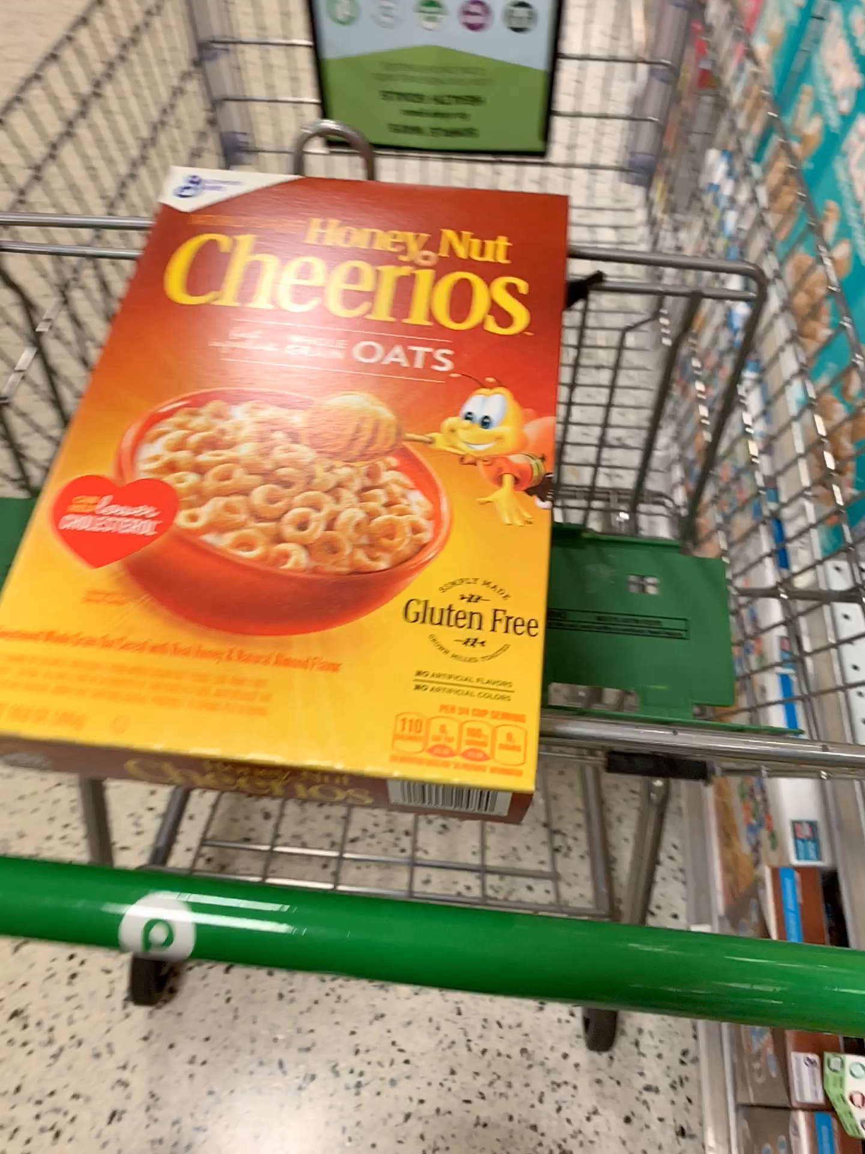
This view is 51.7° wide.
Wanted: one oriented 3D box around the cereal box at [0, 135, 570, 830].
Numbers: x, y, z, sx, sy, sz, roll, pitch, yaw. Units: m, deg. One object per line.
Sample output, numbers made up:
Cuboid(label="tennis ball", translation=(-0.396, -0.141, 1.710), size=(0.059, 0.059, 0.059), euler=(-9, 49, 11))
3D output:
Cuboid(label="cereal box", translation=(-0.052, -0.059, 0.375), size=(0.200, 0.060, 0.292), euler=(5, 62, 4))
